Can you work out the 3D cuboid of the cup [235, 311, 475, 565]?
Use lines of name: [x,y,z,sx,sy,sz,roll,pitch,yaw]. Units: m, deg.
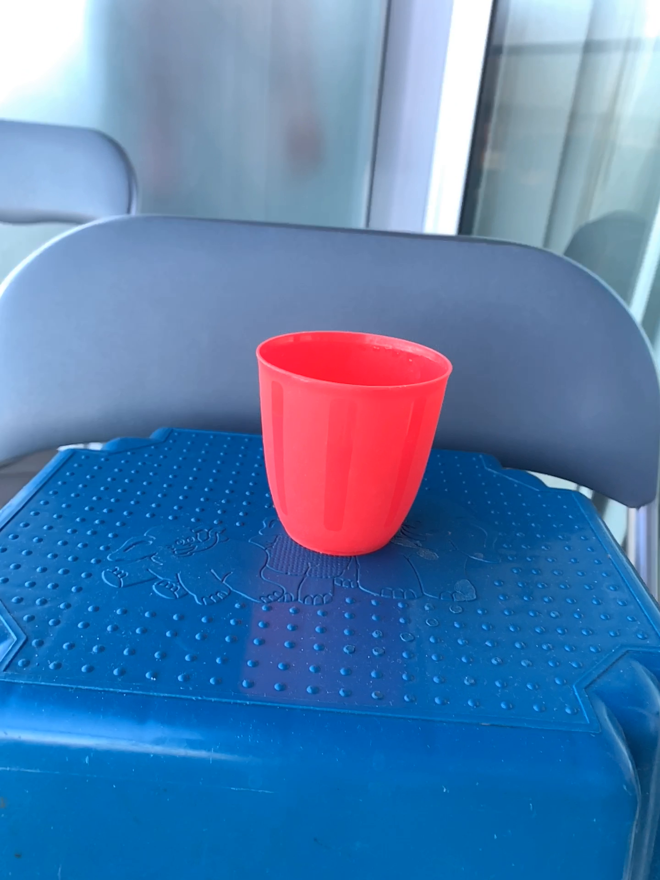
cup: [0.009,-0.004,0.300,0.086,0.077,0.074,6,27,1]
